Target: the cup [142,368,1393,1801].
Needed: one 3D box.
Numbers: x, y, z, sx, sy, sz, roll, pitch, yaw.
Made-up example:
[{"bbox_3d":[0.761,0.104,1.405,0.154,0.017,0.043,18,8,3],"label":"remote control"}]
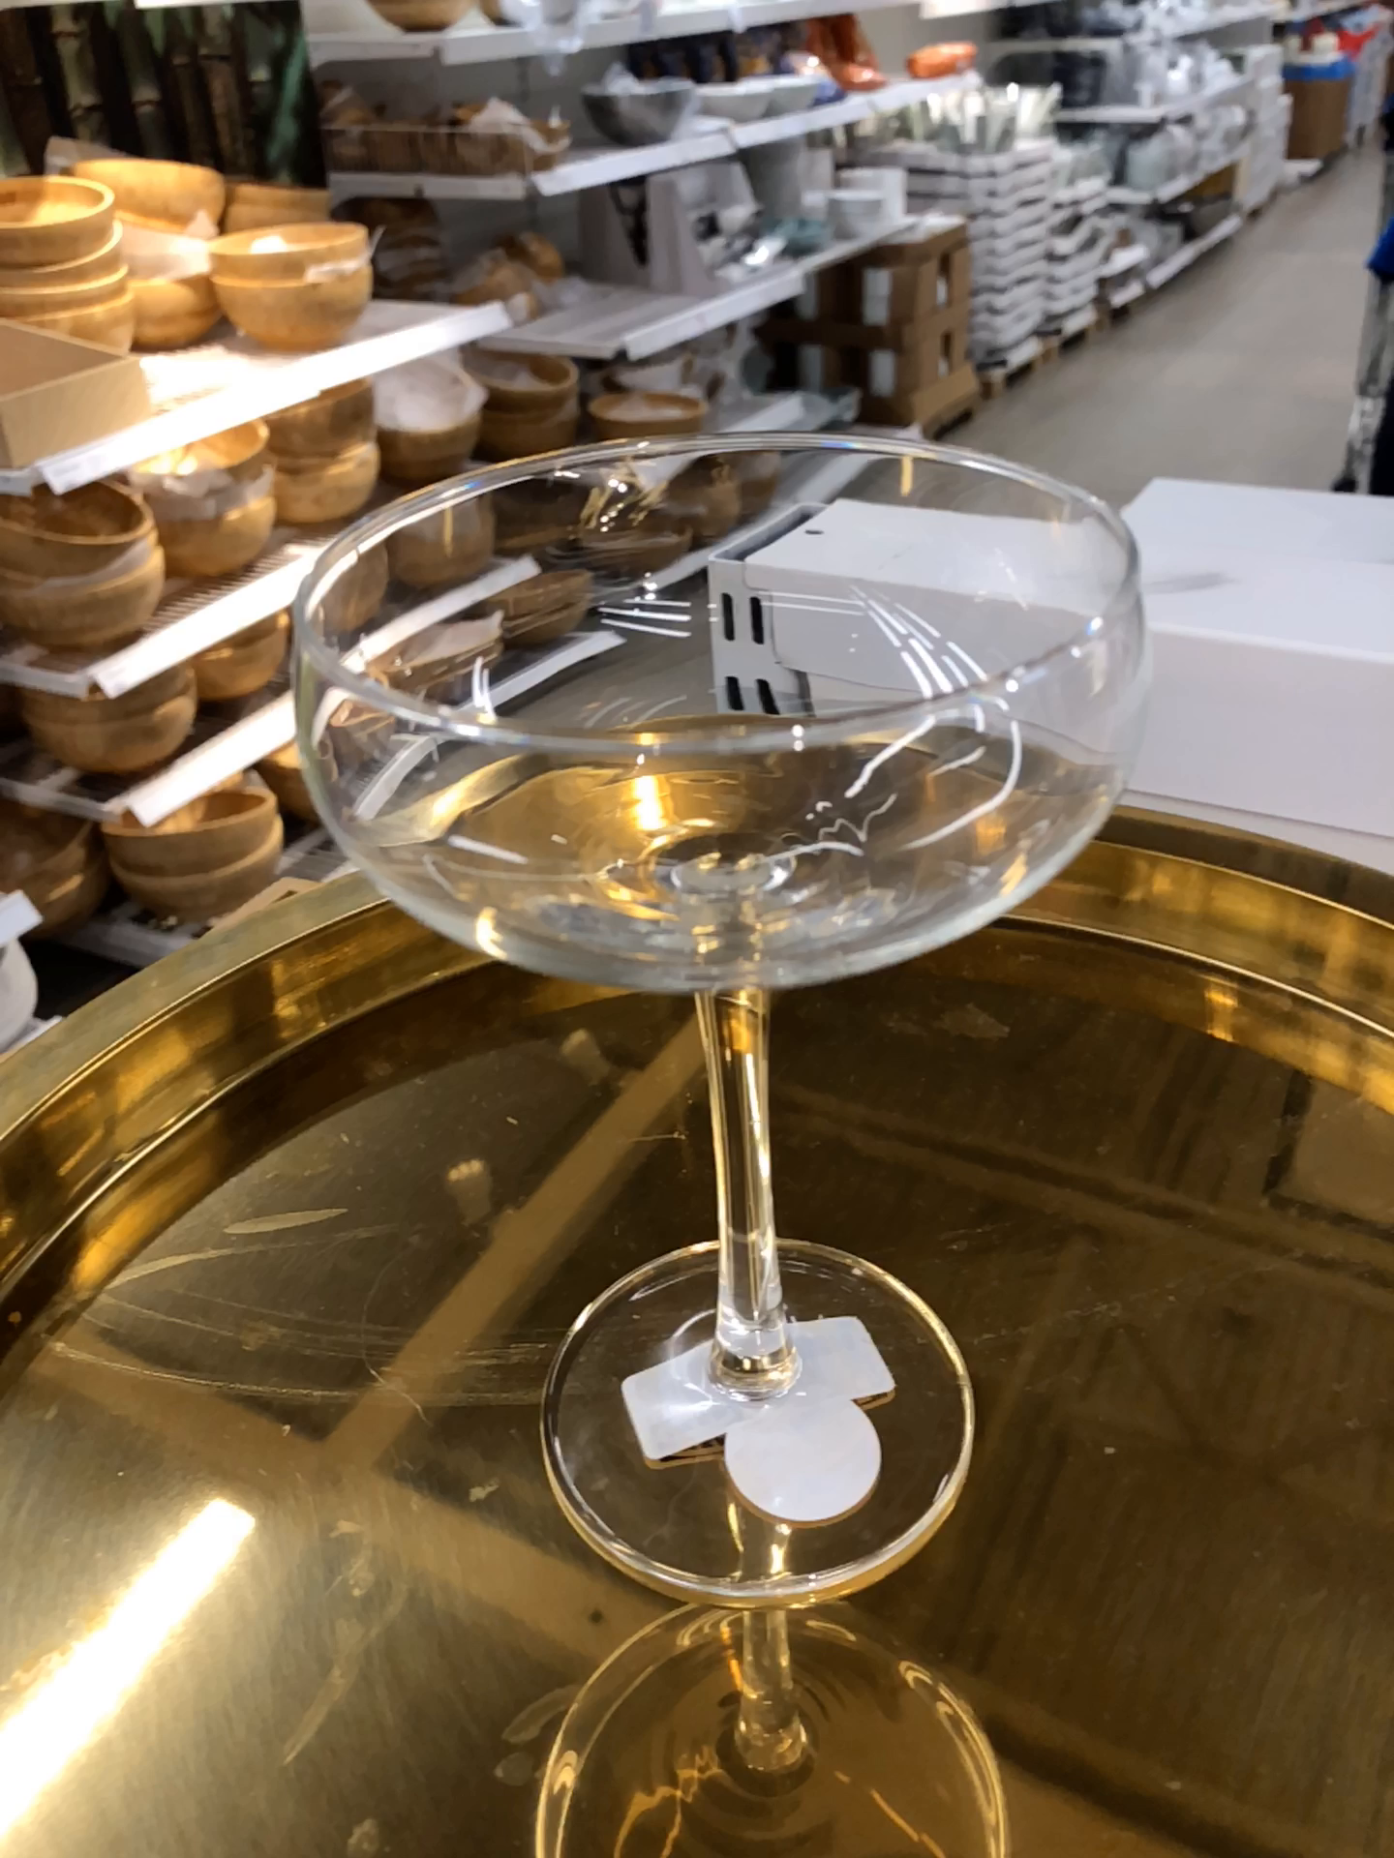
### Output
[{"bbox_3d":[0.004,0.010,0.222,0.110,0.139,0.110,-3,31,2],"label":"cup"}]
